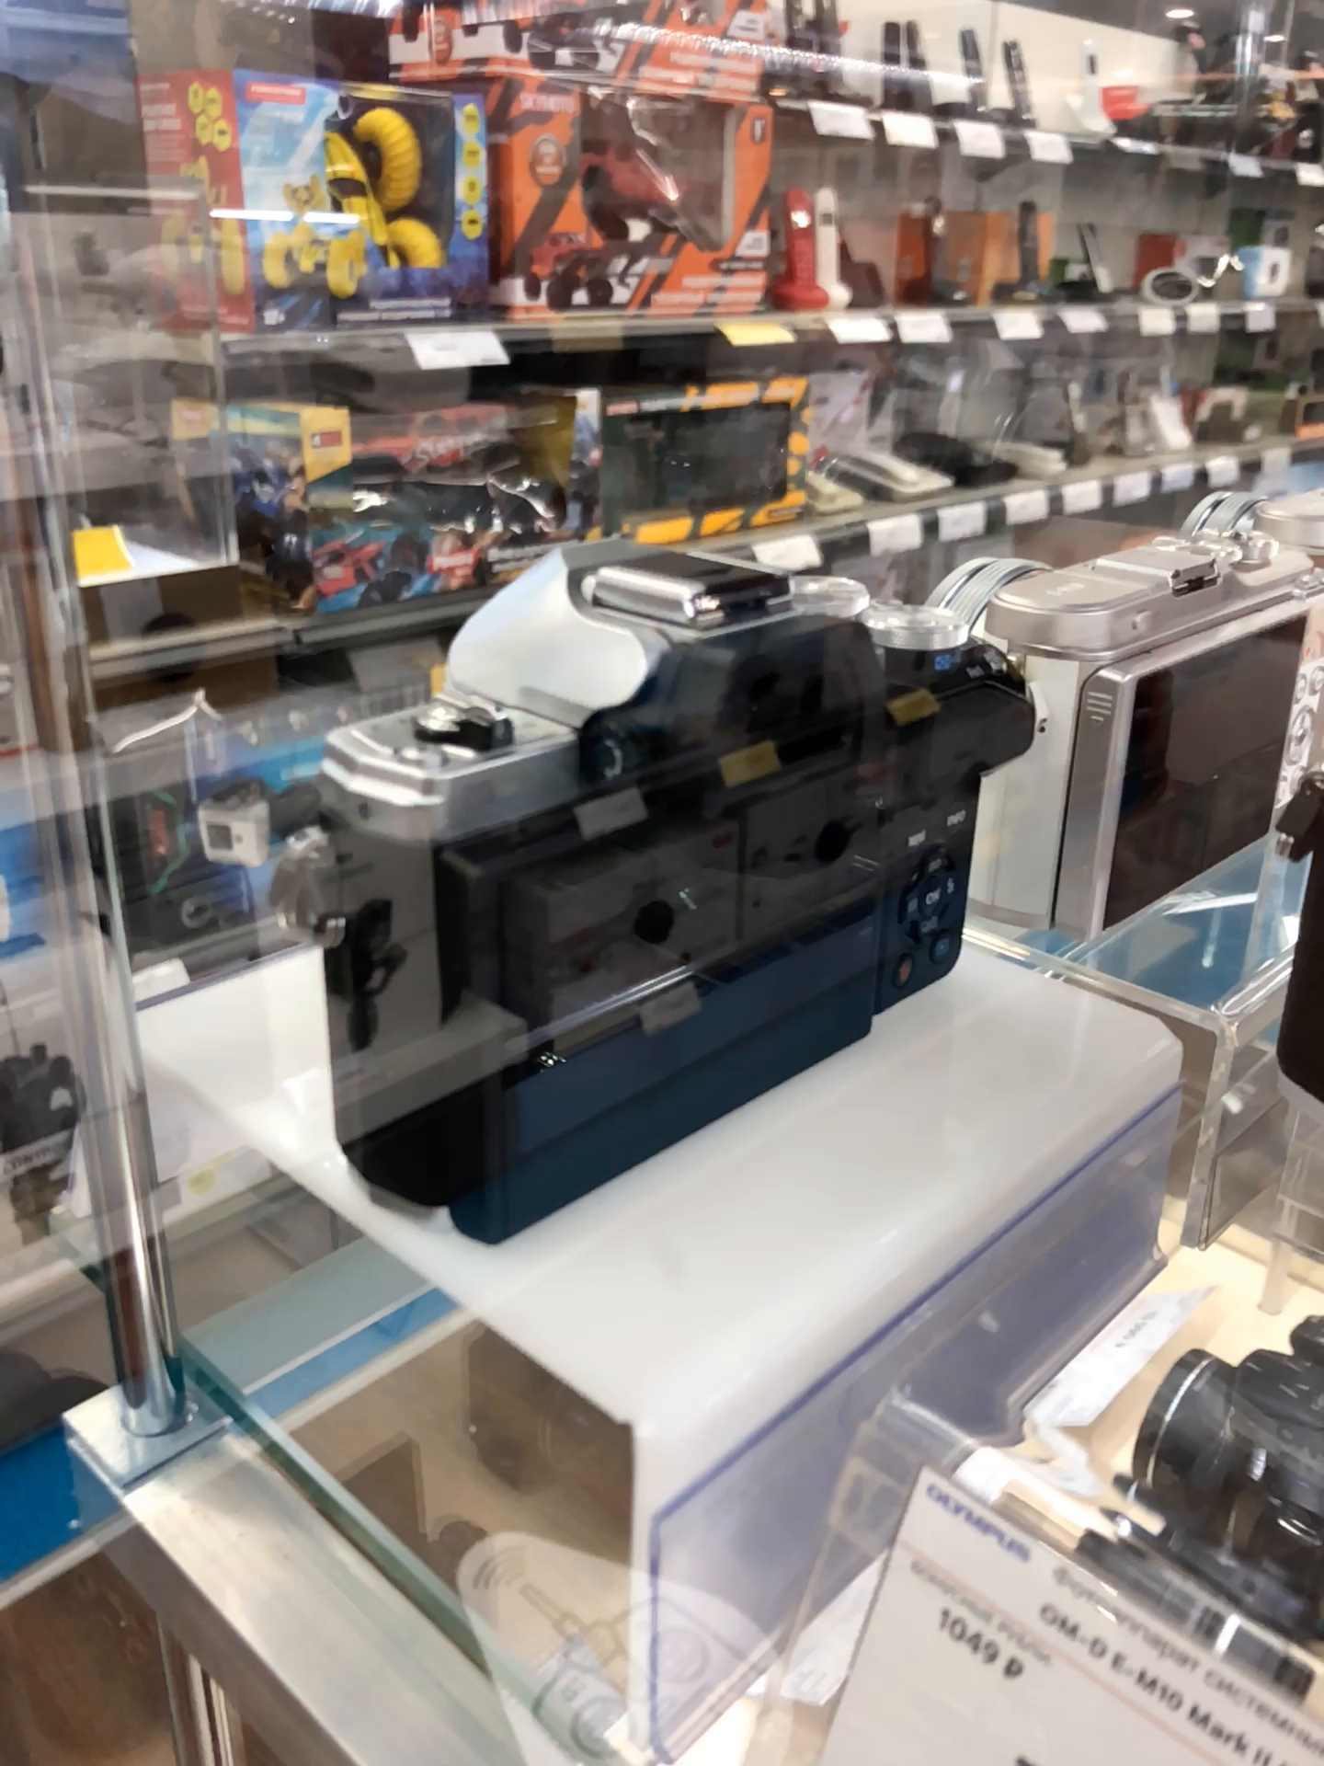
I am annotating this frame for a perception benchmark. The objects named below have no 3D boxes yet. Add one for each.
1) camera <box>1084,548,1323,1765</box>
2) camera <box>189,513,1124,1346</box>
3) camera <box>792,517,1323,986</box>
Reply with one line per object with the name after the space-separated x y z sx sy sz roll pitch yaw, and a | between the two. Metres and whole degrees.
0.142 0.018 0.175 0.136 0.084 0.102 20 29 37 | camera
0.005 -0.006 0.220 0.064 0.077 0.122 21 30 40 | camera
0.098 -0.038 0.333 0.125 0.068 0.068 -20 31 -41 | camera
